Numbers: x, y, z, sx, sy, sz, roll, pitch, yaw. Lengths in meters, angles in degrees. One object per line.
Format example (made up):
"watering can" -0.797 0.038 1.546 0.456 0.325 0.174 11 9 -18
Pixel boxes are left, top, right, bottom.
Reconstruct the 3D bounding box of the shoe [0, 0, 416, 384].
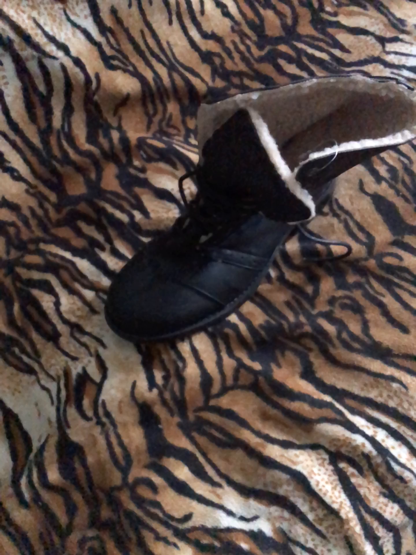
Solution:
"shoe" 0.006 -0.074 0.449 0.330 0.200 0.140 -39 68 -6
